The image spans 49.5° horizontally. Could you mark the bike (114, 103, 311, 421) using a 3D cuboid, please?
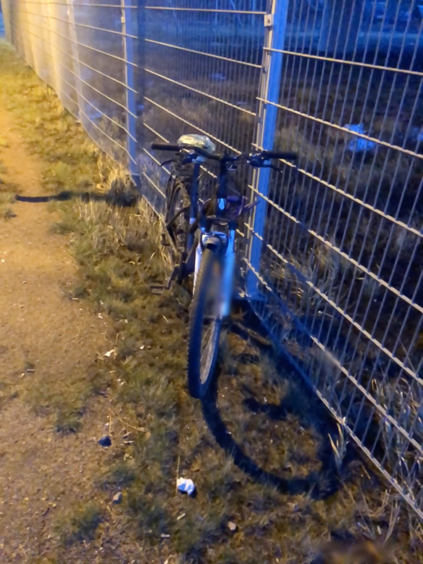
[{"bbox_3d":[-0.111,-0.274,2.228,0.569,0.947,1.592,-1,28,-8],"label":"bike"}]
